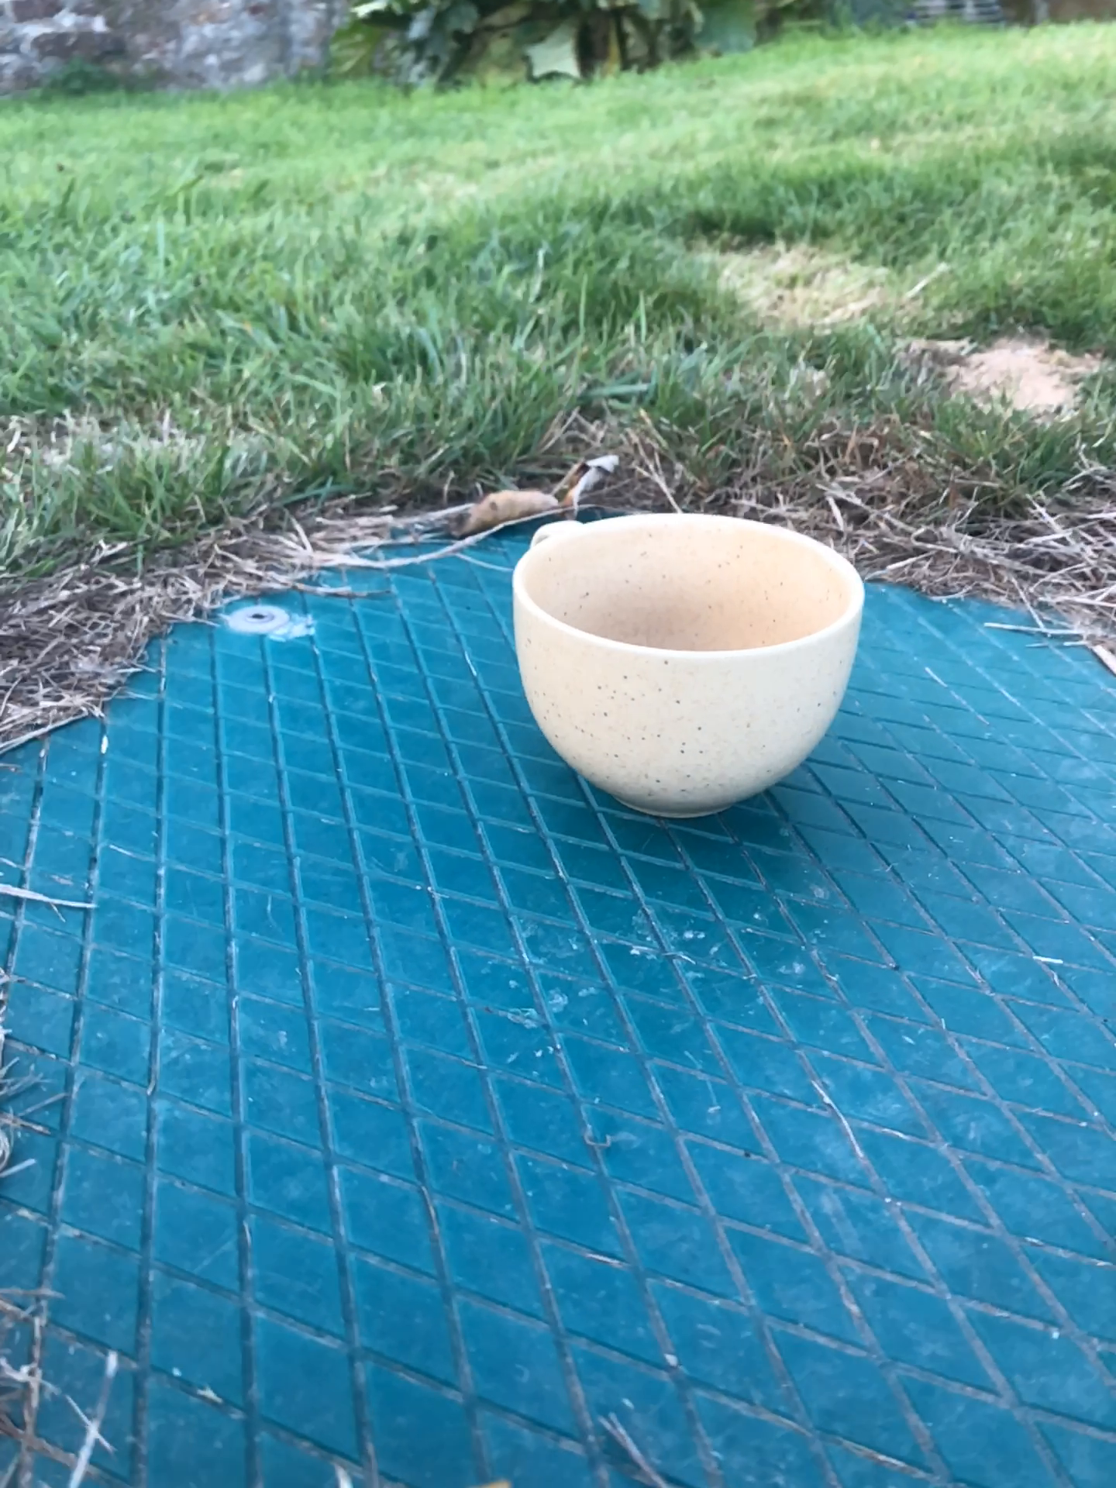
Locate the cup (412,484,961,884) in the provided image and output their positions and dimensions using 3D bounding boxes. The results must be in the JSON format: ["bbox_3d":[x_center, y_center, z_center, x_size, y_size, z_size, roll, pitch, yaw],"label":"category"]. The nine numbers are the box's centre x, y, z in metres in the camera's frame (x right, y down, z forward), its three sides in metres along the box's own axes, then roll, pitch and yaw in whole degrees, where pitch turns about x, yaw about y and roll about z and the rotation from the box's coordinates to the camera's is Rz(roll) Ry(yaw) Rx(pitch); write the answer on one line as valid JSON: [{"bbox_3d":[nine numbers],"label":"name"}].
[{"bbox_3d":[0.039,-0.032,0.434,0.124,0.065,0.142,-19,33,-29],"label":"cup"}]
